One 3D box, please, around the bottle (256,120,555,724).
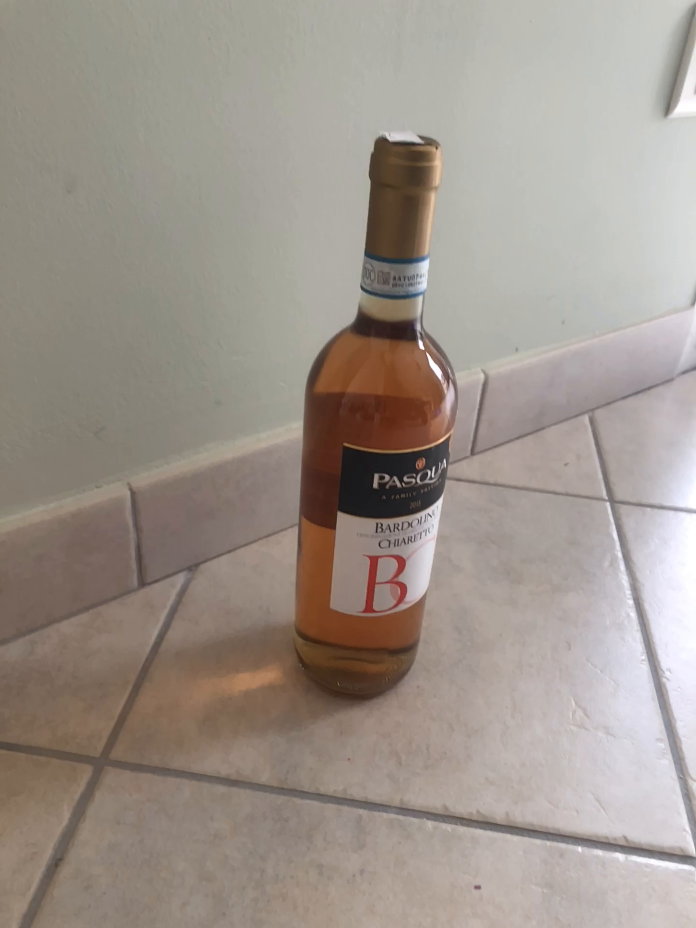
[{"bbox_3d":[0.011,-0.009,0.364,0.080,0.268,0.080,4,33,-2],"label":"bottle"}]
